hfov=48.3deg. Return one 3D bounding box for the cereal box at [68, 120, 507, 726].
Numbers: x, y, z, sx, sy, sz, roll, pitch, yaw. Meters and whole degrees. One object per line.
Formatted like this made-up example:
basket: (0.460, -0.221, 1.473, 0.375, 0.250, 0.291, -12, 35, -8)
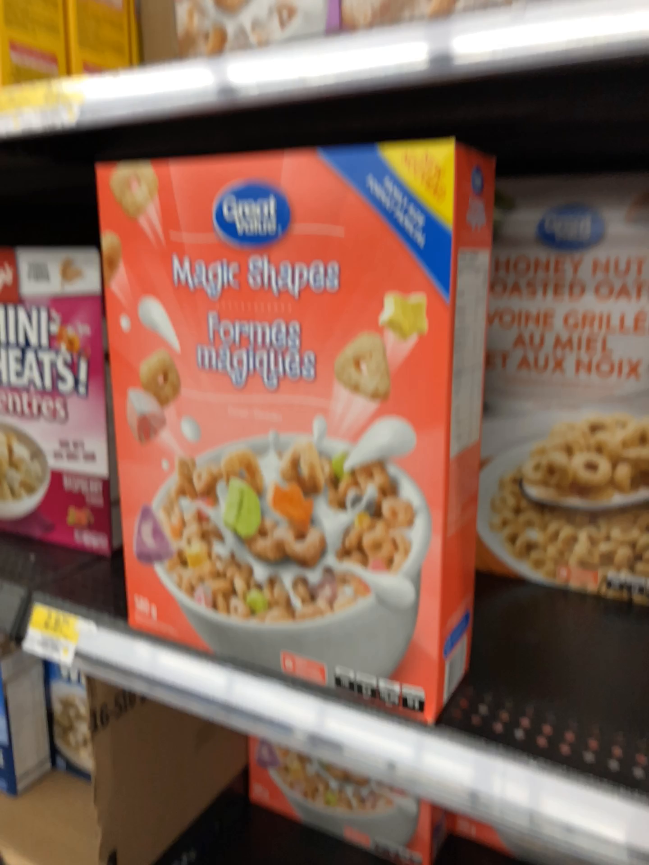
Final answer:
cereal box: (-0.028, -0.011, 0.463, 0.260, 0.319, 0.070, 7, 16, 29)
